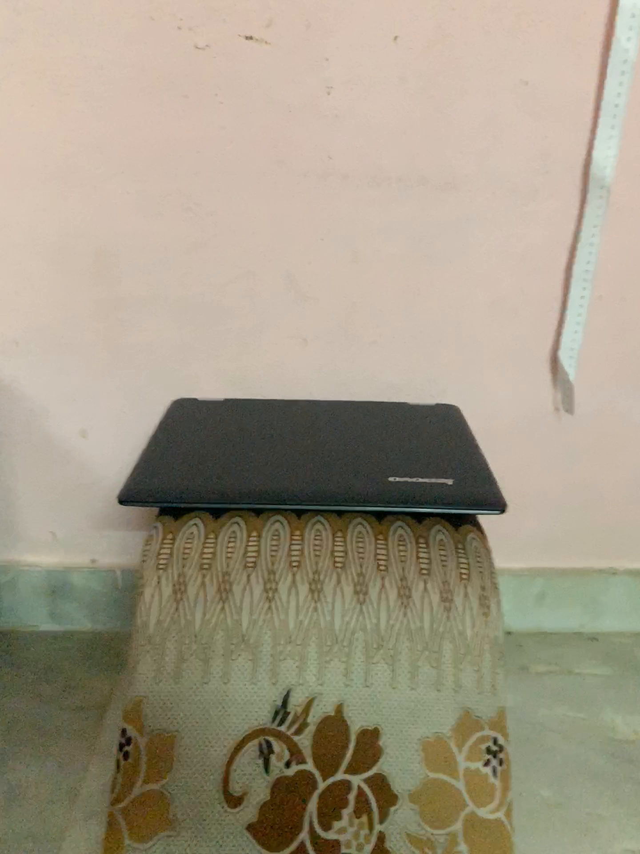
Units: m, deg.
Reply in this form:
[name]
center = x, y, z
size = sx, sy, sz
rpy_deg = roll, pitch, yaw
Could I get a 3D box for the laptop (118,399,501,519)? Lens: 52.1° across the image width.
[laptop]
center = -0.006, 0.022, 0.634
size = 0.312, 0.012, 0.214
rpy_deg = 1, 25, 0
